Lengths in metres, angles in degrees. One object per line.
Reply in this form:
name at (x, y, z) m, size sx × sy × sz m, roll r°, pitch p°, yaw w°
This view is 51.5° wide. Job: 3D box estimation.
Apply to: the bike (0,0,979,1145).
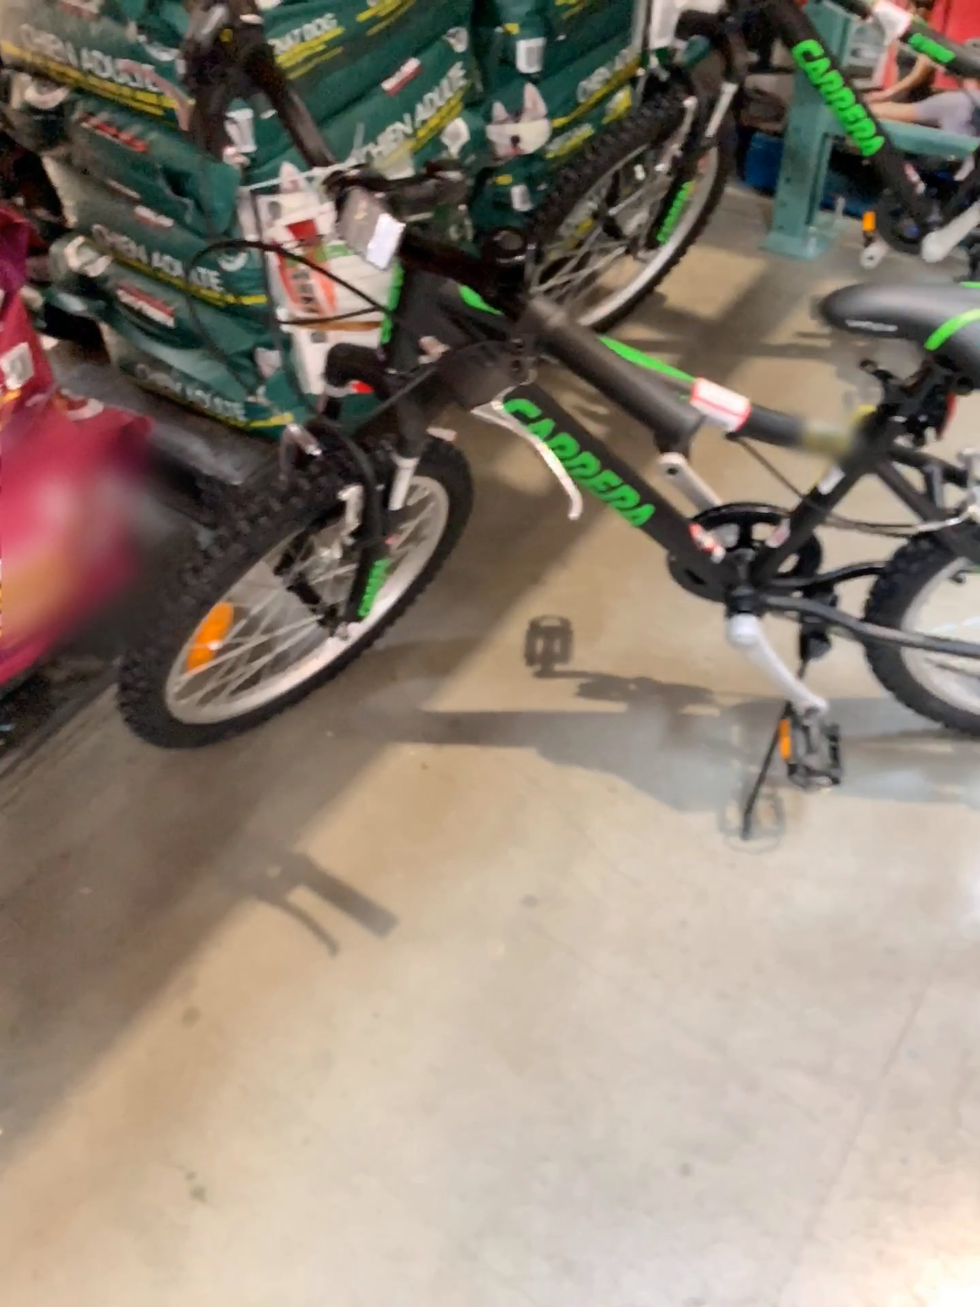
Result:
bike at (0.251, -0.102, 0.951) m, size 1.304 × 0.855 × 0.711 m, roll -3°, pitch 50°, yaw 0°
